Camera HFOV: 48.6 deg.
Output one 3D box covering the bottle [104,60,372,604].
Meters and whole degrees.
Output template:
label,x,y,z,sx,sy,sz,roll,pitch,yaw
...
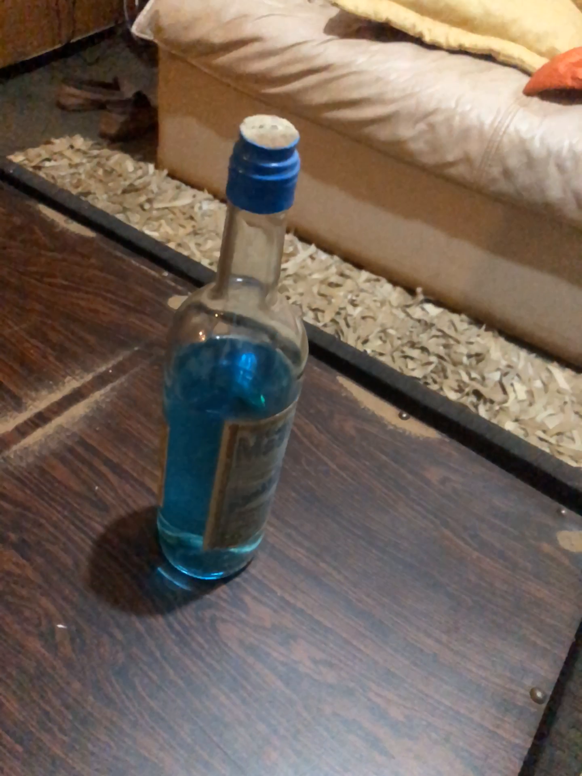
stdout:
label,x,y,z,sx,sy,sz,roll,pitch,yaw
bottle,-0.037,-0.005,0.361,0.080,0.298,0.081,6,42,-5
